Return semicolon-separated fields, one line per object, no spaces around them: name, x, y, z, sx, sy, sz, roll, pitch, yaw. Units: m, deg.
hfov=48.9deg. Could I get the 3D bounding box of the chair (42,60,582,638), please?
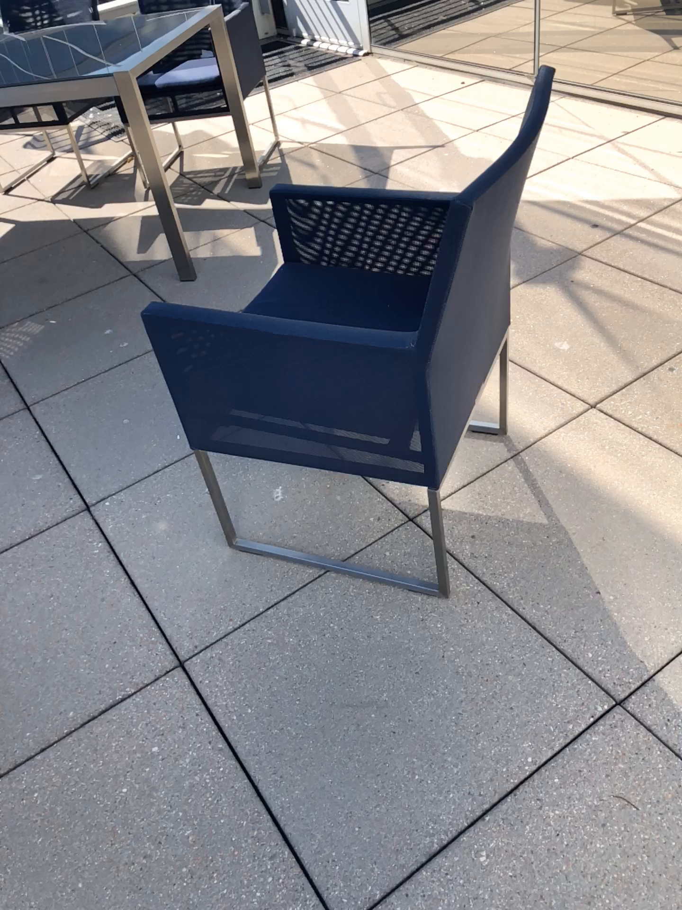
chair;0.044;-0.222;1.443;0.671;0.776;0.652;8;43;22
